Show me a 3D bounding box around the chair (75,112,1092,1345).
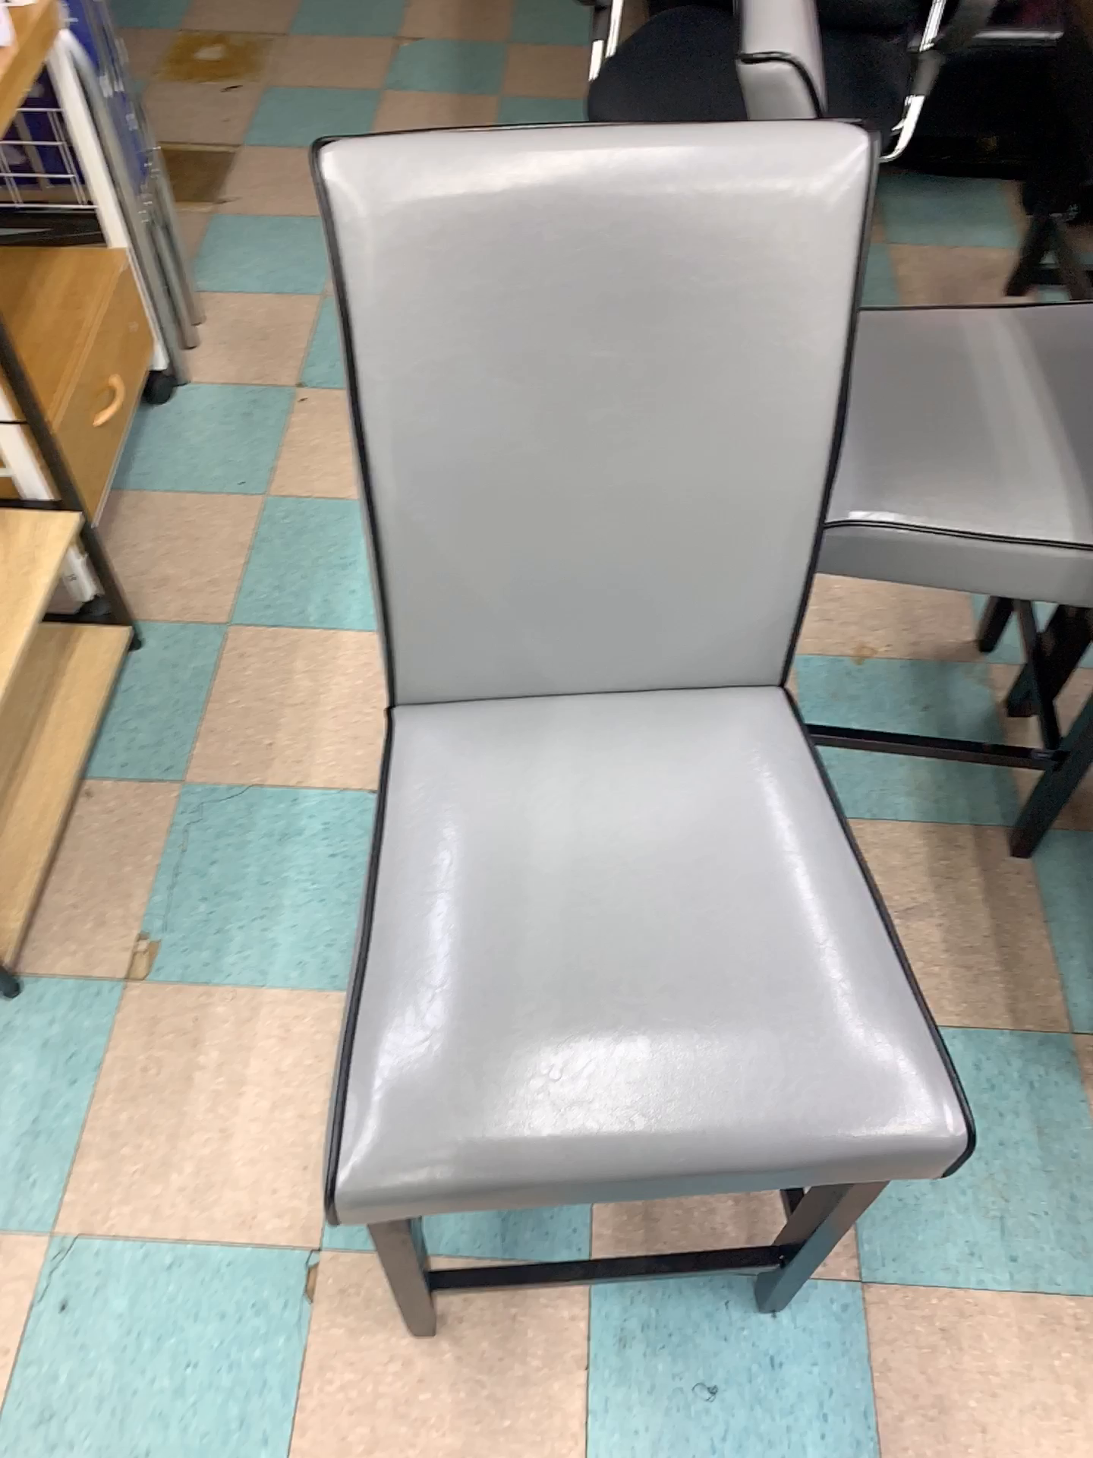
[{"bbox_3d":[0.043,0.110,0.917,0.450,0.931,0.562,-2,54,-3],"label":"chair"}]
